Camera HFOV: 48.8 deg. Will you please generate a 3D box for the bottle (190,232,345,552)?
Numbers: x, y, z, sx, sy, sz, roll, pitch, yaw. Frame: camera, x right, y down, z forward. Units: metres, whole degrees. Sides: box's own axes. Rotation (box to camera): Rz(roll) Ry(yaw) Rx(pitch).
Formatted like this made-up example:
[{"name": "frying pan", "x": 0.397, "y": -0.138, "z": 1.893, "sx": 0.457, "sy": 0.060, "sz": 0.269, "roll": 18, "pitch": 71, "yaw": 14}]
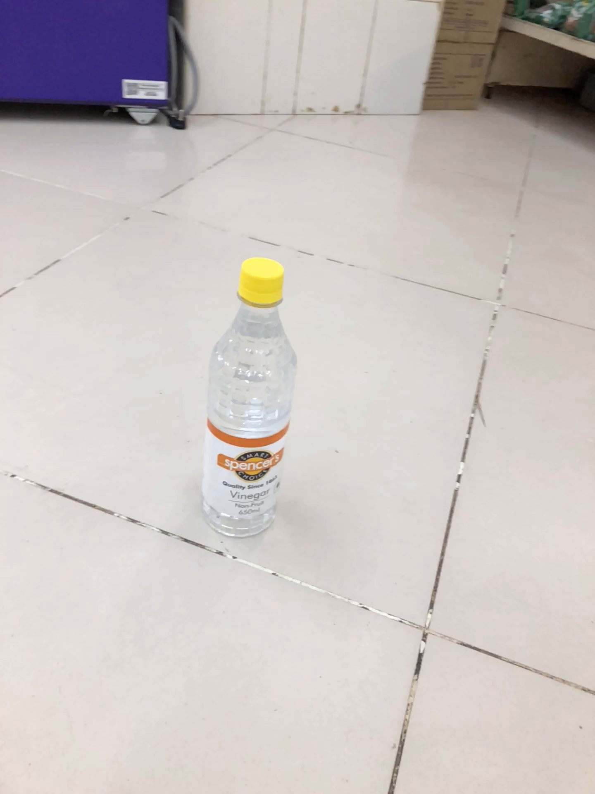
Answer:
[{"name": "bottle", "x": -0.033, "y": 0.003, "z": 0.505, "sx": 0.080, "sy": 0.238, "sz": 0.080, "roll": 5, "pitch": 36, "yaw": -4}]
